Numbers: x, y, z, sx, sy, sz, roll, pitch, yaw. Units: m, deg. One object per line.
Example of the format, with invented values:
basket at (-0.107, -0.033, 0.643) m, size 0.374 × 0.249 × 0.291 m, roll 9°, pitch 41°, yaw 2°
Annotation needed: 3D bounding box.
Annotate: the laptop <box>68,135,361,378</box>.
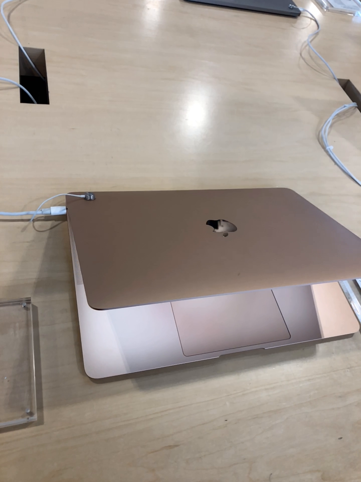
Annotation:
laptop at (0.041, -0.004, 0.409) m, size 0.288 × 0.093 × 0.203 m, roll -4°, pitch 55°, yaw -20°
